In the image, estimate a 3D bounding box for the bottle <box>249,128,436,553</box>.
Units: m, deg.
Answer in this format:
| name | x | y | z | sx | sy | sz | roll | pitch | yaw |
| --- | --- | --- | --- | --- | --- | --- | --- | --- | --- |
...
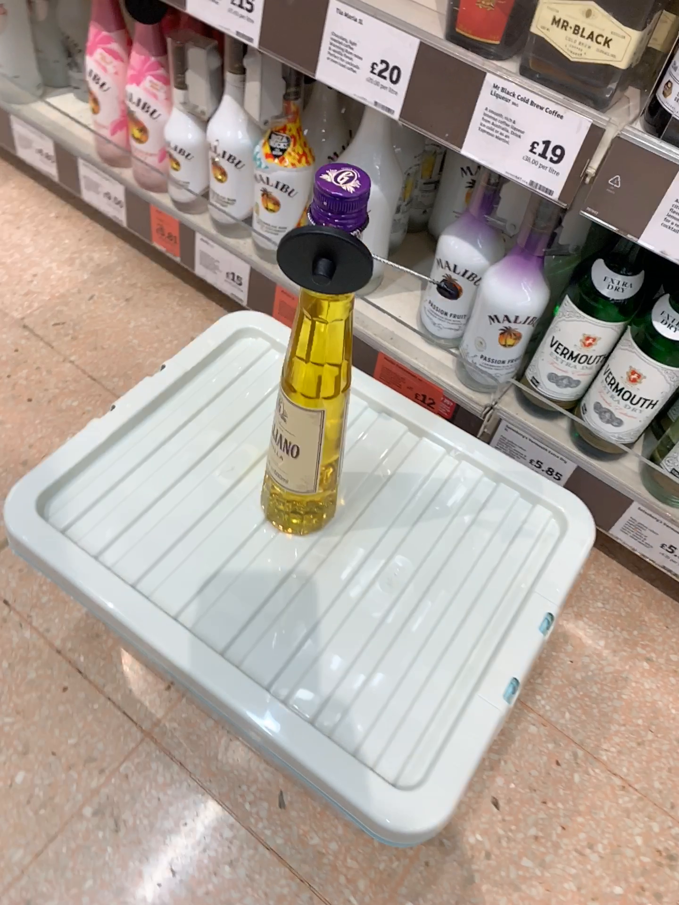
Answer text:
| name | x | y | z | sx | sy | sz | roll | pitch | yaw |
| --- | --- | --- | --- | --- | --- | --- | --- | --- | --- |
| bottle | -0.017 | -0.049 | 0.516 | 0.070 | 0.347 | 0.073 | 4 | 54 | -5 |
